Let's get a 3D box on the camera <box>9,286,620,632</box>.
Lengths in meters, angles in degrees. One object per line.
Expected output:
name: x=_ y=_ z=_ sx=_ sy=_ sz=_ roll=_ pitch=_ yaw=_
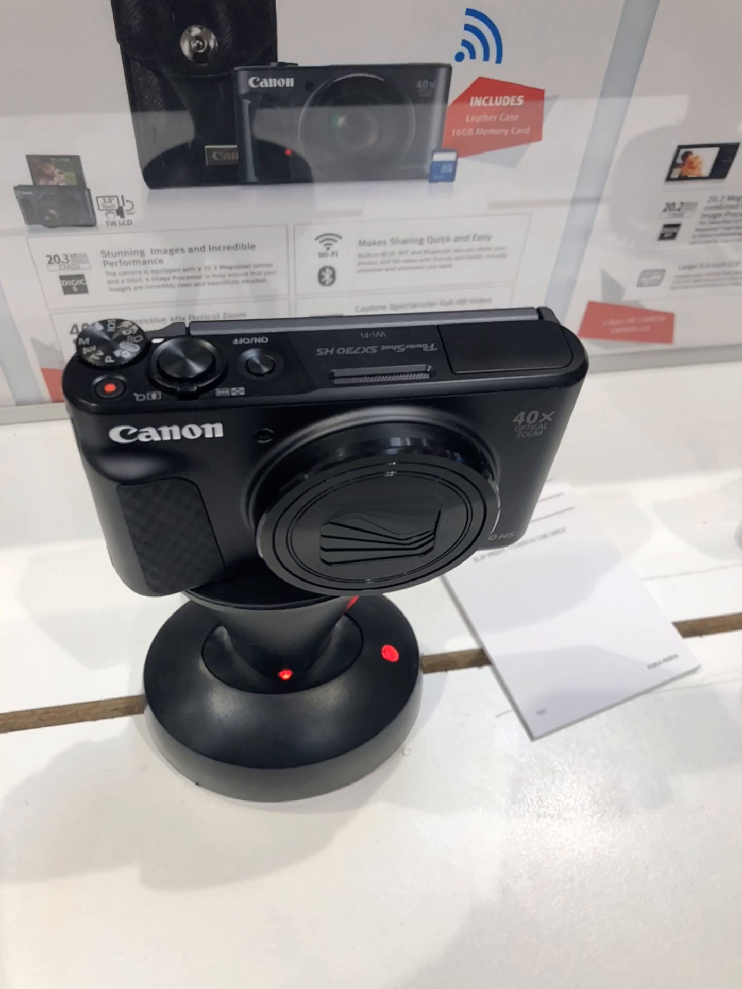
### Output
camera: x=-0.013 y=-0.007 z=0.201 sx=0.120 sy=0.070 sz=0.040 roll=-4 pitch=53 yaw=-9
